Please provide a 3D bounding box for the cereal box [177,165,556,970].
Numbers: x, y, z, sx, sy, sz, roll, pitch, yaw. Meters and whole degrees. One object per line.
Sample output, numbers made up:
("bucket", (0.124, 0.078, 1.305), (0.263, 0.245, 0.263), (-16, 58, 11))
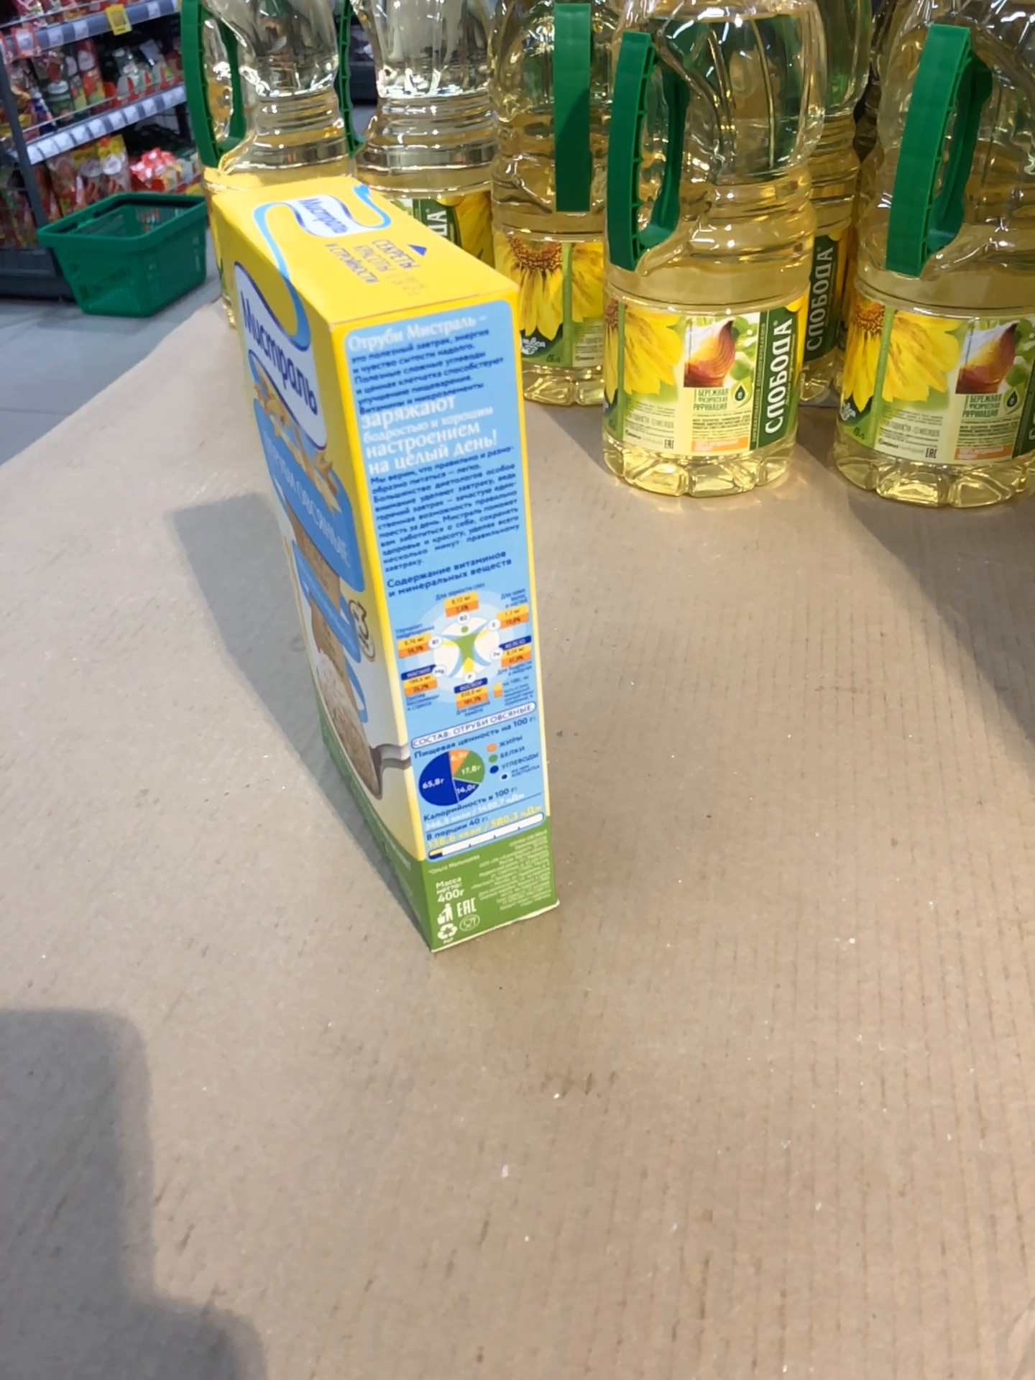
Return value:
("cereal box", (-0.047, -0.041, 0.368), (0.050, 0.209, 0.151), (-17, 37, -17))
